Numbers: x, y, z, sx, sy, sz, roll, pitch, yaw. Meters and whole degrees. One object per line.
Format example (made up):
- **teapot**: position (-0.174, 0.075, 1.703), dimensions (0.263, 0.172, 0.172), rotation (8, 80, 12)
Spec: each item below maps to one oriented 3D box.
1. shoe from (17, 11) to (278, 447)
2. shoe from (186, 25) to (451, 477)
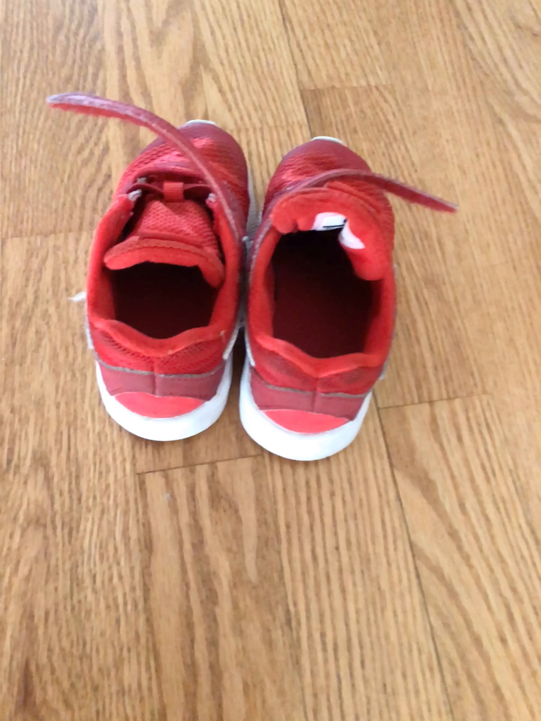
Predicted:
- **shoe**: position (-0.043, -0.058, 0.263), dimensions (0.080, 0.069, 0.175), rotation (4, 67, -4)
- **shoe**: position (0.024, -0.050, 0.264), dimensions (0.088, 0.069, 0.177), rotation (9, 66, -2)
